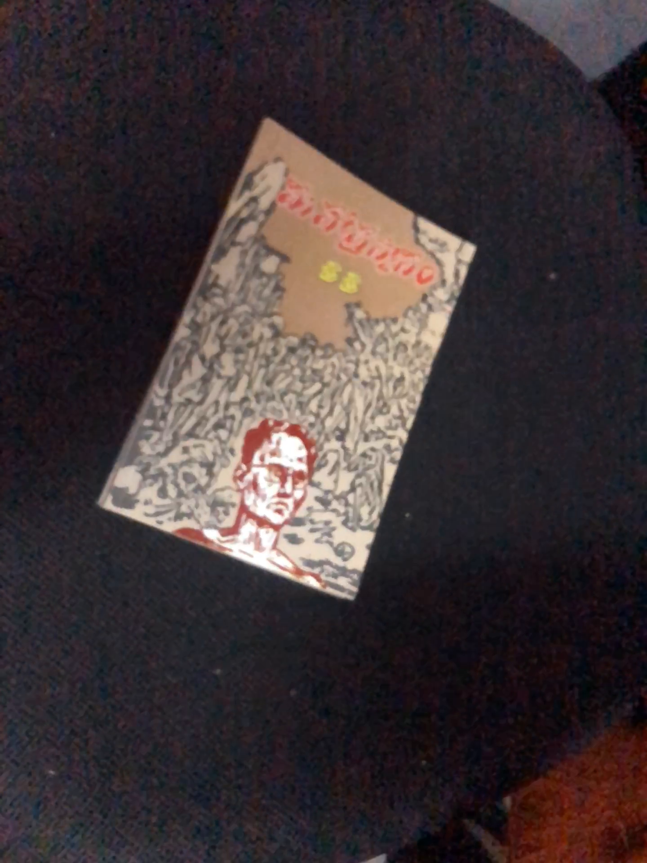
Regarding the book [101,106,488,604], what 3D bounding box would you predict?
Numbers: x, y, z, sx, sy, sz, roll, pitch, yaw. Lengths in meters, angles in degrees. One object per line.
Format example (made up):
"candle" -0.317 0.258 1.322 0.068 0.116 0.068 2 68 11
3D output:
"book" -0.006 -0.037 0.385 0.140 0.018 0.220 24 80 -22
